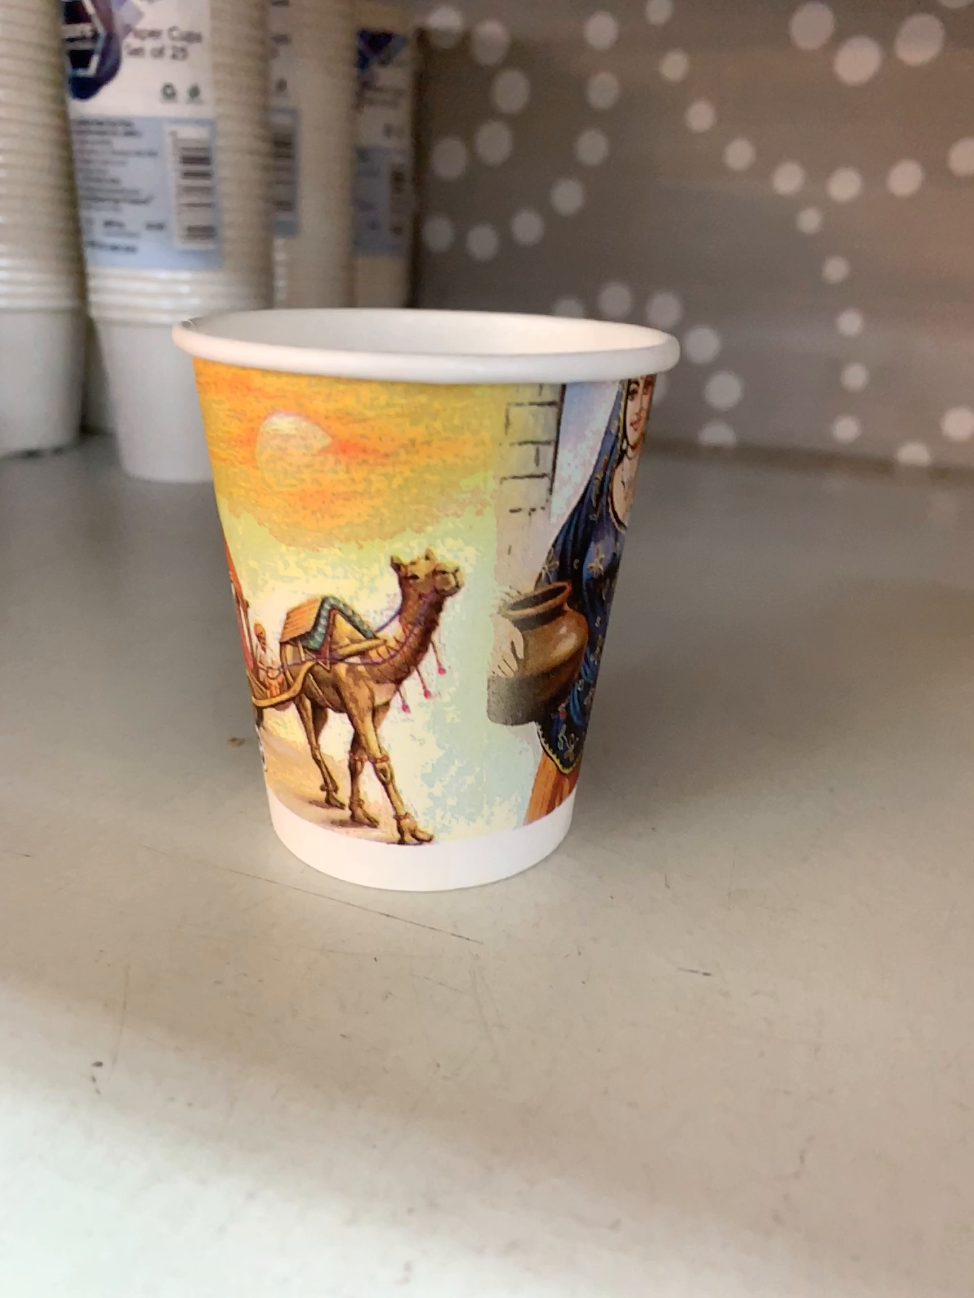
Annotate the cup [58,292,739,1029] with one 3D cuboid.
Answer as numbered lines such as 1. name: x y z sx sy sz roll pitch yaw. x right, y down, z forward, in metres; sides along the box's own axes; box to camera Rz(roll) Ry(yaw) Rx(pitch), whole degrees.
1. cup: -0.006 -0.008 0.153 0.070 0.079 0.070 2 21 -1
